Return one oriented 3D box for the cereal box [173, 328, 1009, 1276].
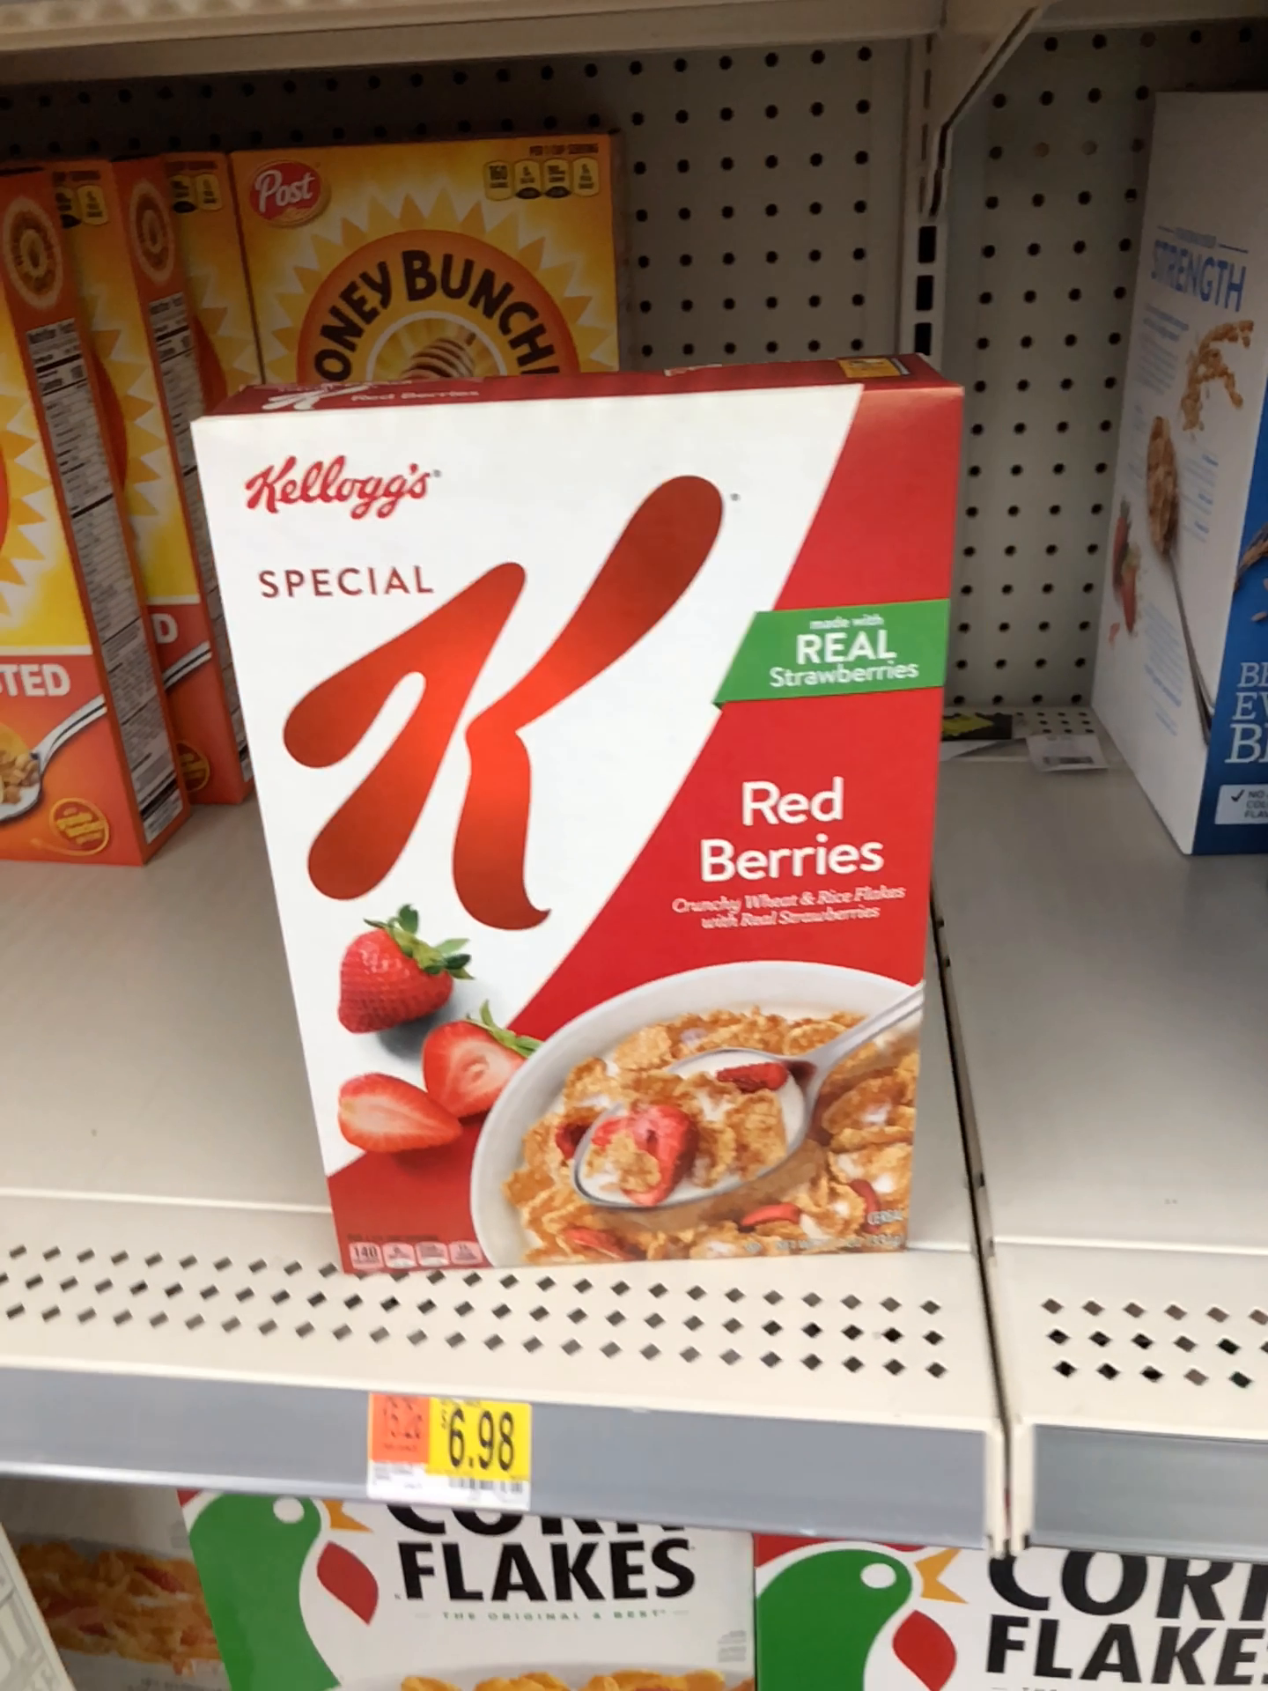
[{"bbox_3d":[-0.003,0.004,0.427,0.200,0.289,0.050,-3,29,2],"label":"cereal box"}]
